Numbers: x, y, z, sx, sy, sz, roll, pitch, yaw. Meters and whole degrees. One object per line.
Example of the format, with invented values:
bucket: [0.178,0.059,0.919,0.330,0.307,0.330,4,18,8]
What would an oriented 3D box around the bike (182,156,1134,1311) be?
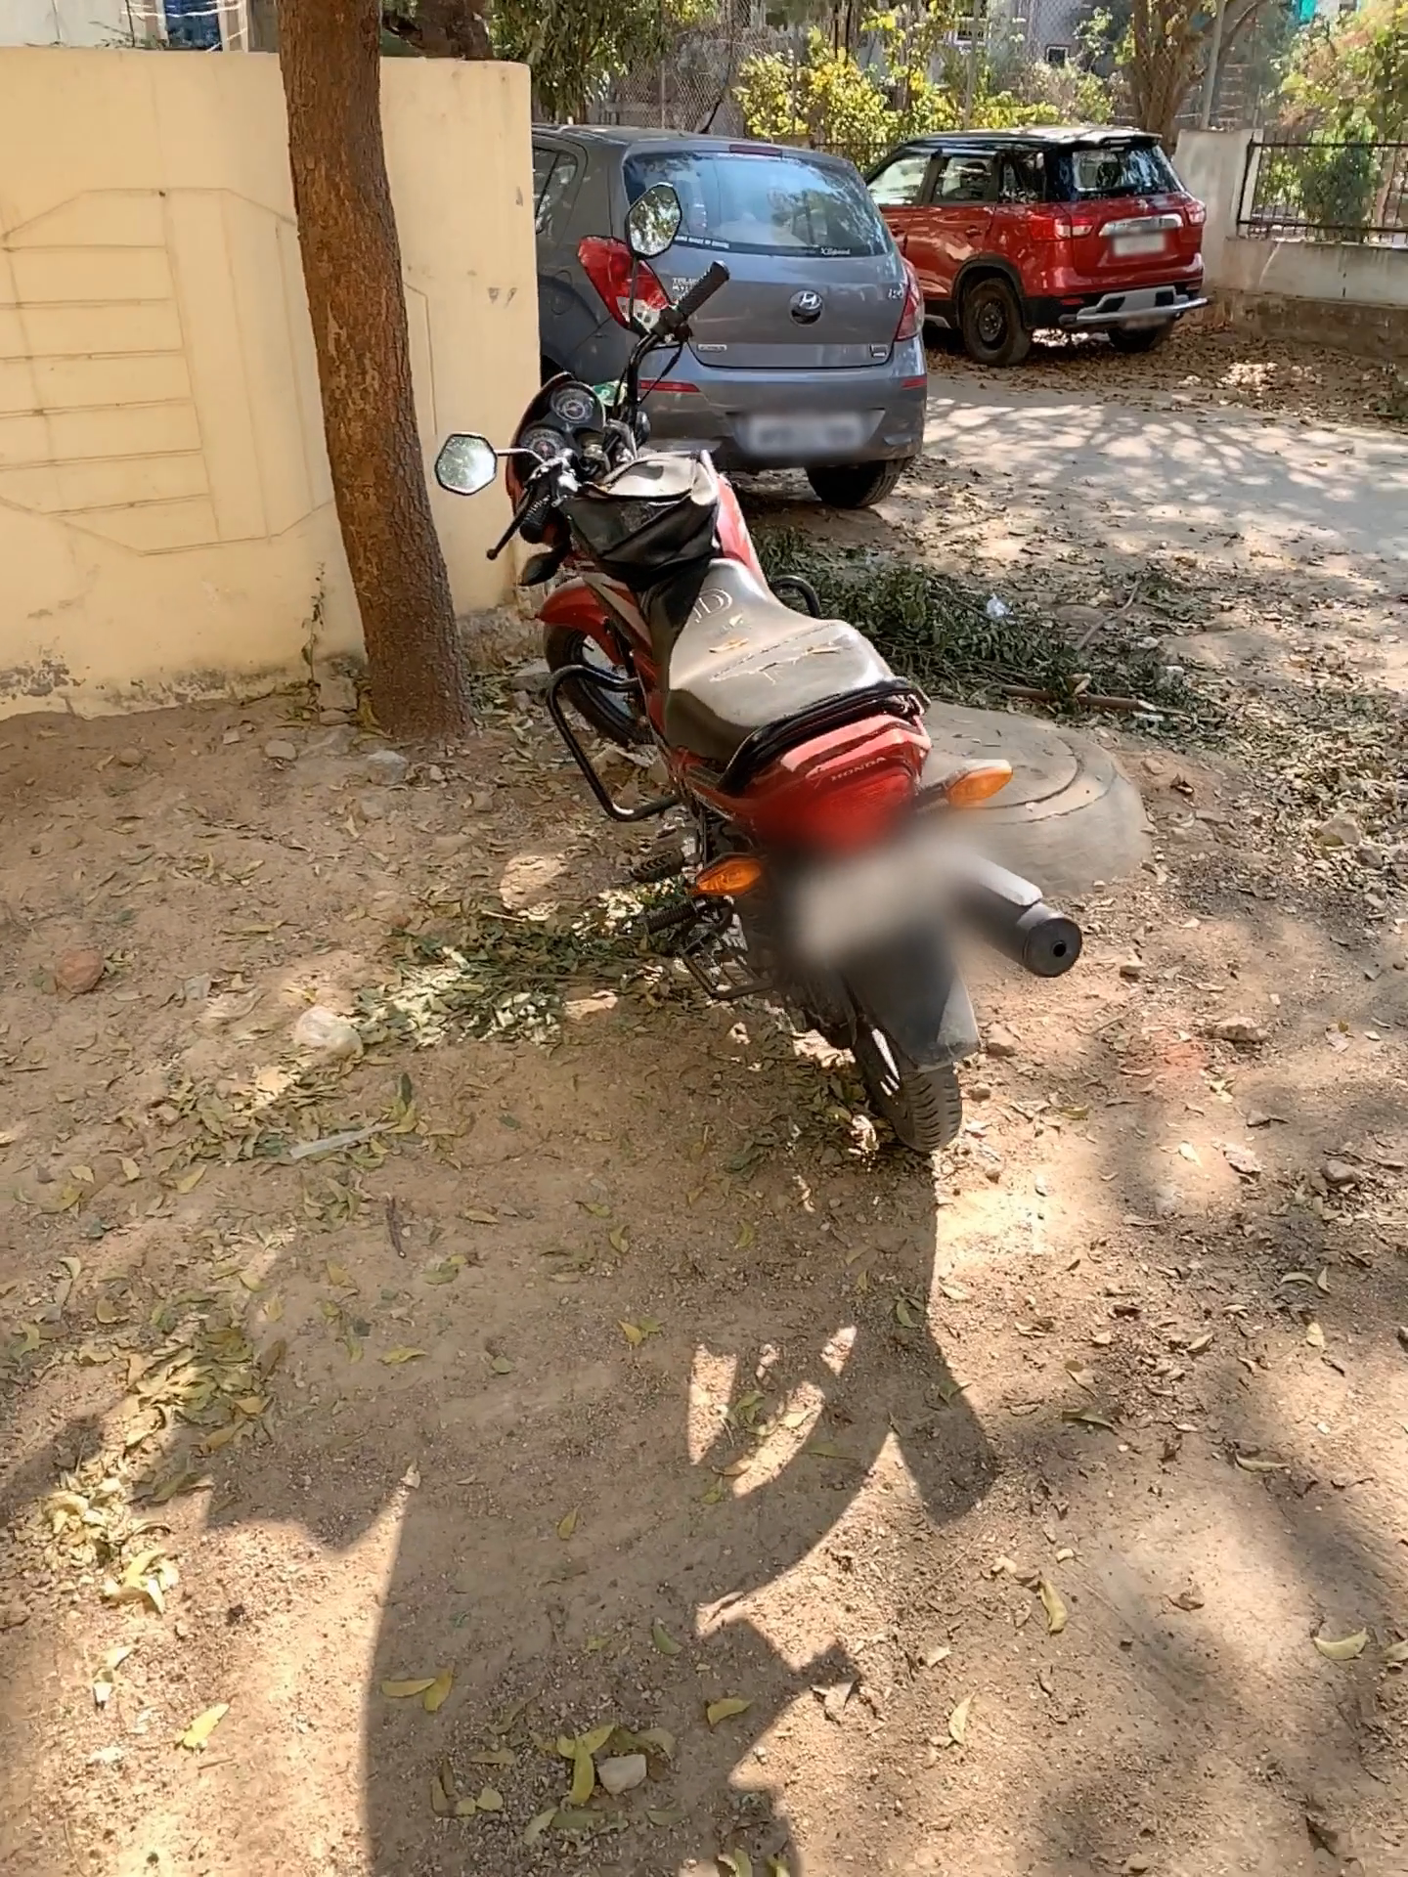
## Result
bike: [-0.236,-0.513,2.378,0.776,1.179,1.648,-12,35,-21]
